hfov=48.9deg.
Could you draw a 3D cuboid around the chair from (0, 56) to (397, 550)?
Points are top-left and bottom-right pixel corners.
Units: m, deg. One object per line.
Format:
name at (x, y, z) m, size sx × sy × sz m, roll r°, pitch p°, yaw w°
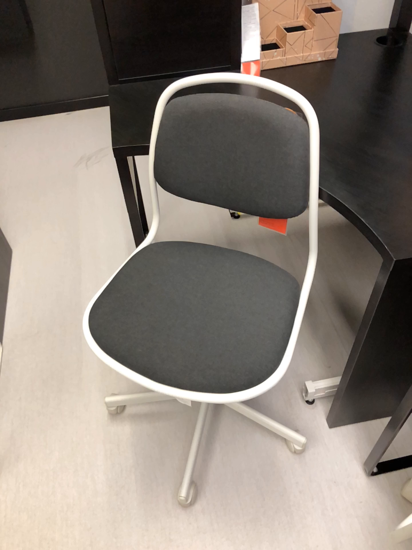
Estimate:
chair at (-0.028, 0.098, 1.084) m, size 0.661 × 0.904 × 0.623 m, roll 12°, pitch 50°, yaw 14°
